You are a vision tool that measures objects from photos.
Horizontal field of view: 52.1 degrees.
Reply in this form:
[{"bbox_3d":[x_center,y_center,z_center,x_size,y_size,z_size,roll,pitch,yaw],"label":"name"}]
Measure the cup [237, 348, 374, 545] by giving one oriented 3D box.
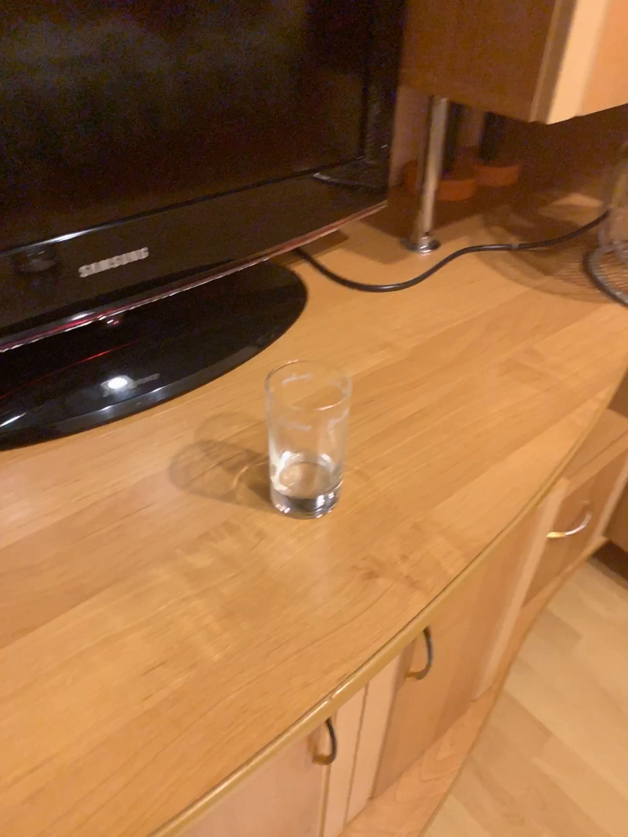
[{"bbox_3d":[-0.007,0.018,0.423,0.061,0.099,0.060,1,38,-1],"label":"cup"}]
